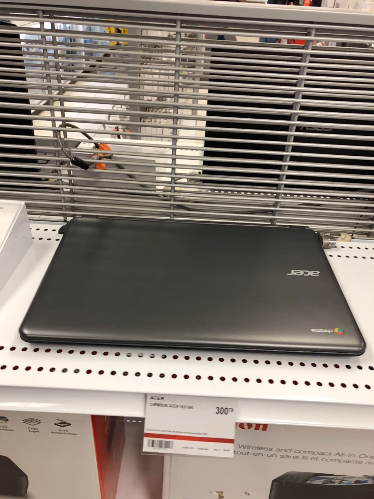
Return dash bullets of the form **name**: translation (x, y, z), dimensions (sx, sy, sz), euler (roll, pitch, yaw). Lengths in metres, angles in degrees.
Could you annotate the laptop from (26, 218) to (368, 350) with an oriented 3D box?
- **laptop**: translation (0.008, 0.029, 0.540), dimensions (0.367, 0.001, 0.238), euler (3, 34, 1)
